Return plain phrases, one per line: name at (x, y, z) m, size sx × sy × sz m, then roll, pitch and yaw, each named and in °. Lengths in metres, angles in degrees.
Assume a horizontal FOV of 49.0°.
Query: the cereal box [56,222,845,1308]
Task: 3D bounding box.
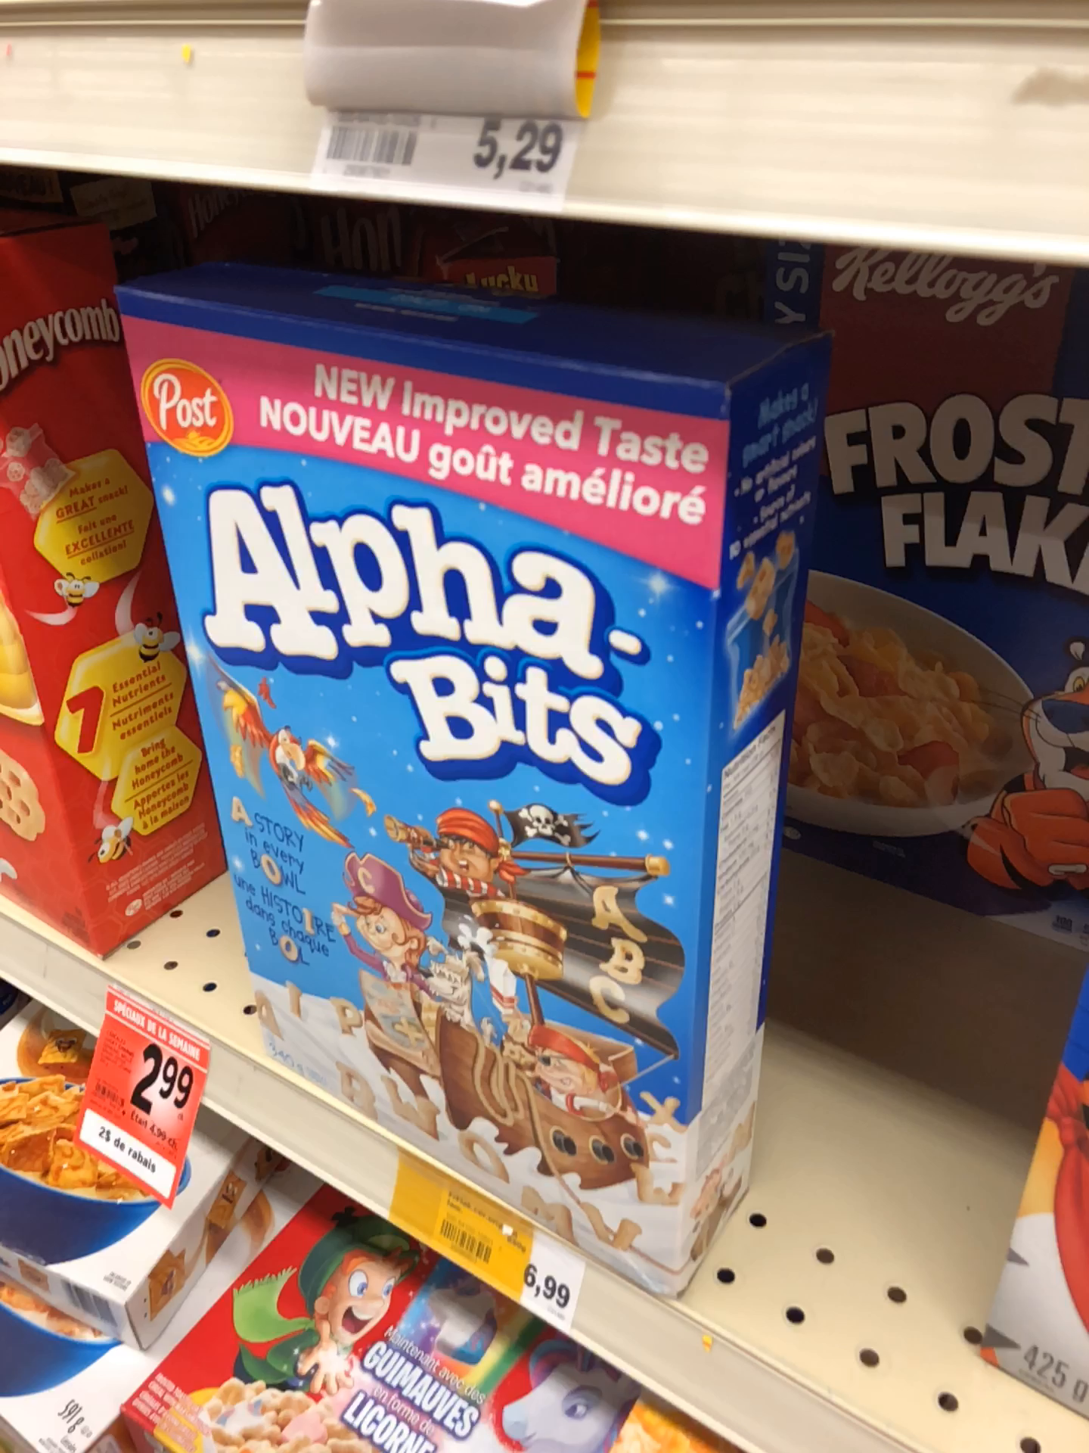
cereal box at (-0.028, 0.016, 0.372) m, size 0.201 × 0.298 × 0.060 m, roll 20°, pitch 39°, yaw 31°
